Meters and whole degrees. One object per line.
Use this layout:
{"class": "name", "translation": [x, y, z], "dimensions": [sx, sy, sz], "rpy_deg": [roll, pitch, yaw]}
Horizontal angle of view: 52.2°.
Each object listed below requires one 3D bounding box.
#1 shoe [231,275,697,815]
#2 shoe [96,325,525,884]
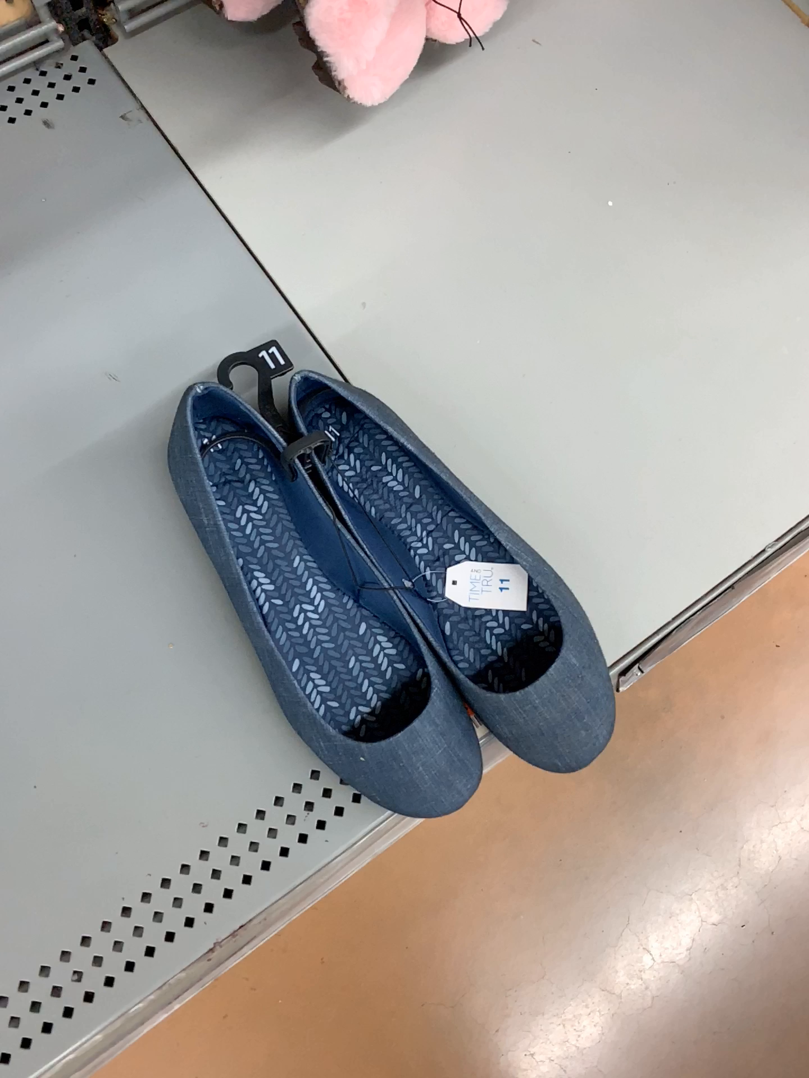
{"class": "shoe", "translation": [0.026, 0.003, 0.466], "dimensions": [0.090, 0.090, 0.280], "rpy_deg": [-35, 81, -5]}
{"class": "shoe", "translation": [-0.053, 0.033, 0.464], "dimensions": [0.090, 0.090, 0.280], "rpy_deg": [-31, 80, -7]}
